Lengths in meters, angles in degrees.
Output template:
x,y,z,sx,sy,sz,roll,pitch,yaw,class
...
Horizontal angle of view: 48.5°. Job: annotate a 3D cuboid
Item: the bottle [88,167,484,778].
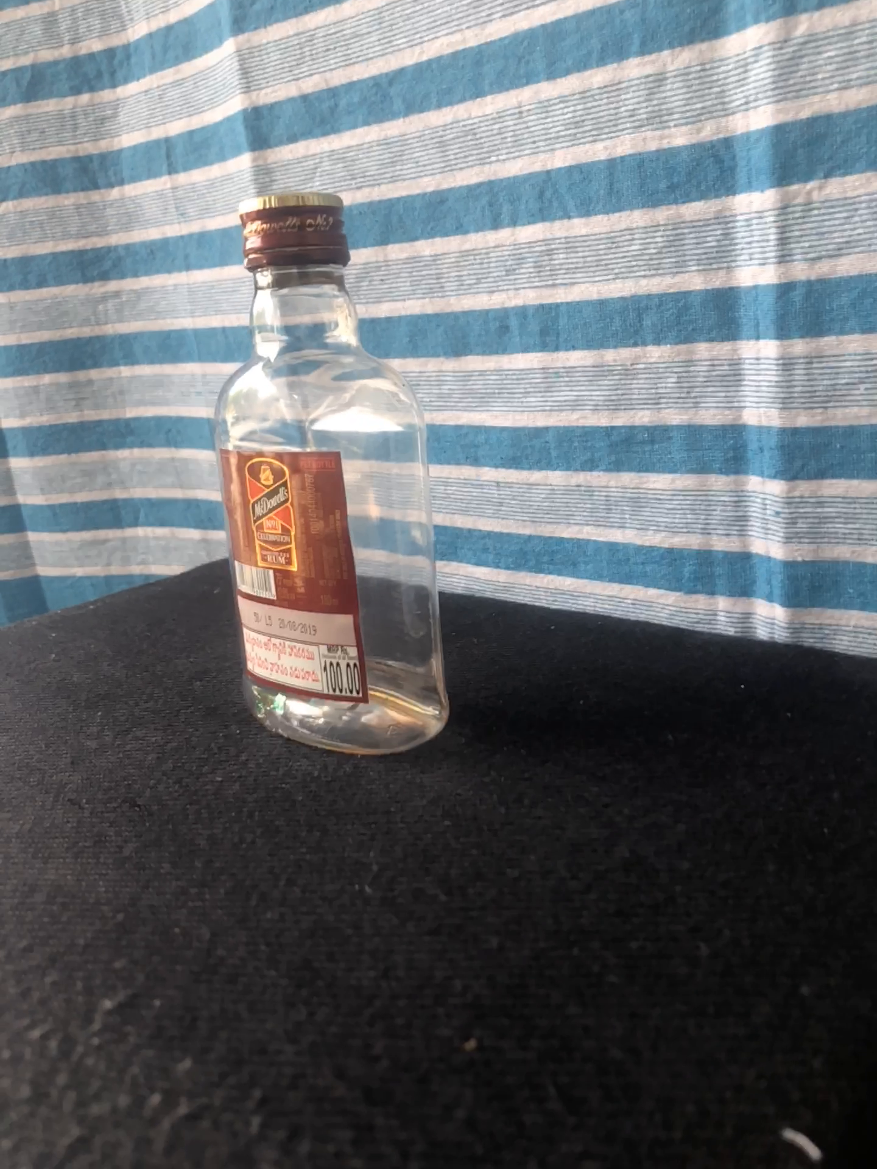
x,y,z,sx,sy,sz,roll,pitch,yaw,class
-0.037,-0.029,0.243,0.080,0.130,0.040,10,22,39,bottle
